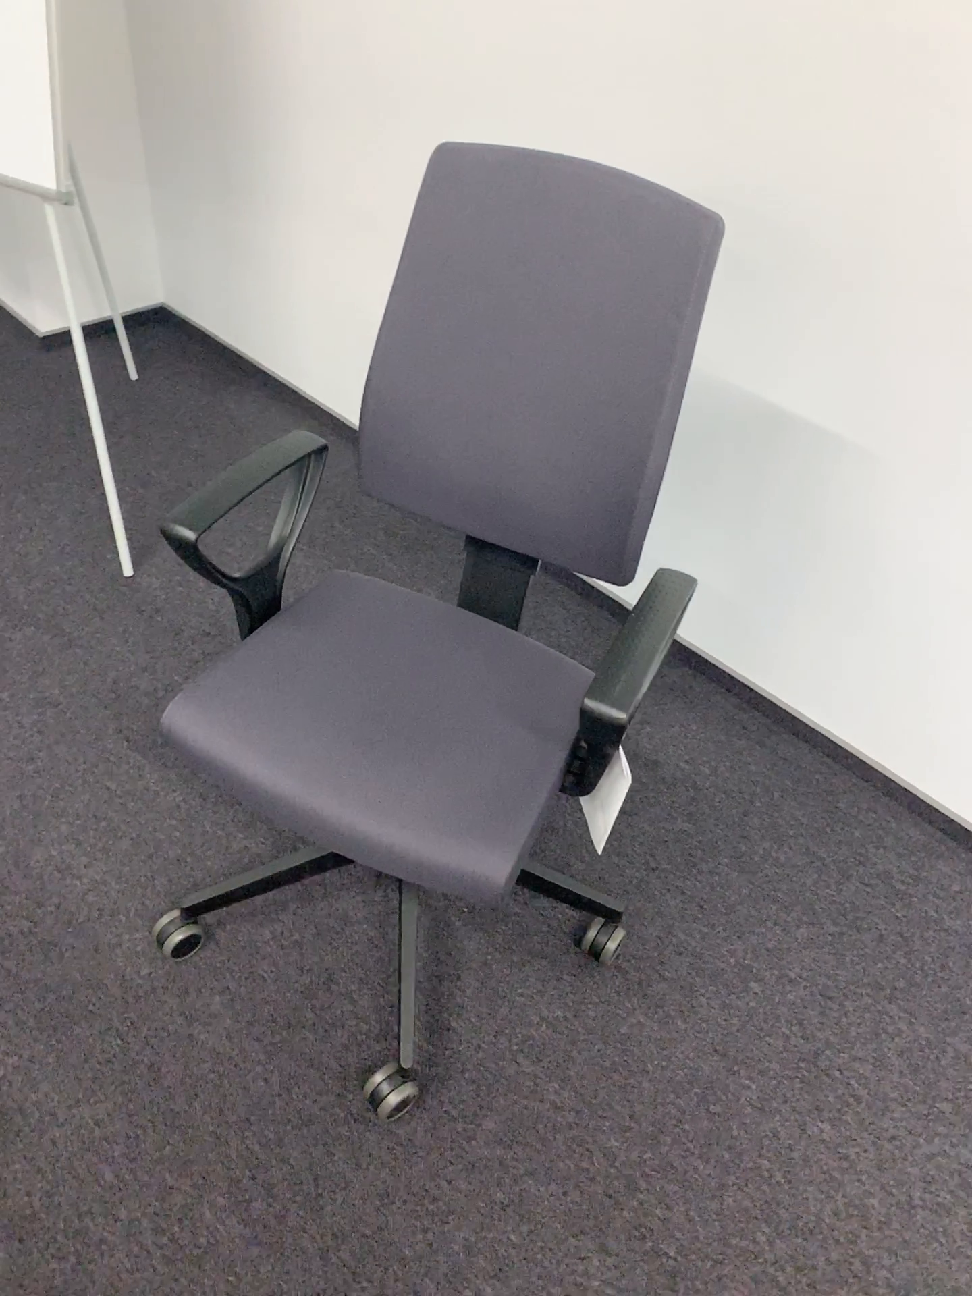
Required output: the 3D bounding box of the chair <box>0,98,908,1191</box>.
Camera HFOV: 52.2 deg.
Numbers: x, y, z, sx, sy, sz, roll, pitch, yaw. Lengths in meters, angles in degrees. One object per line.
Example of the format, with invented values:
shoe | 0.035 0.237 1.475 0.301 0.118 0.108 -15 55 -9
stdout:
chair | -0.048 -0.032 1.333 0.700 1.034 0.784 24 41 16
